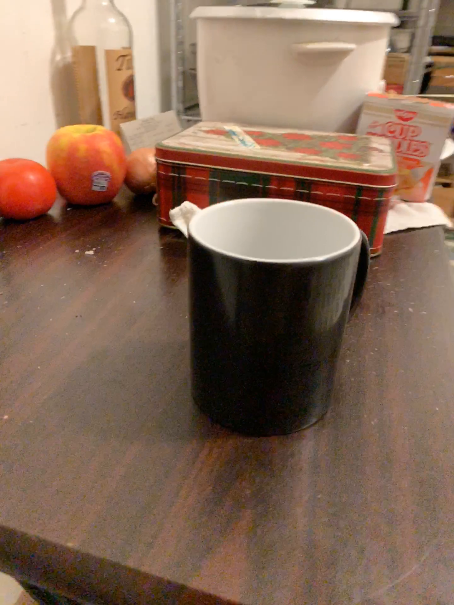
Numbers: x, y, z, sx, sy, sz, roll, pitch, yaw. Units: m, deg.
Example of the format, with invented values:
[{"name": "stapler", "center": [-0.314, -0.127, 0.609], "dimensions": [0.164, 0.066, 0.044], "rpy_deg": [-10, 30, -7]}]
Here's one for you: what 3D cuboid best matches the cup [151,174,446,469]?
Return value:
[{"name": "cup", "center": [0.038, -0.002, 0.257], "dimensions": [0.130, 0.099, 0.080], "rpy_deg": [-23, 38, -36]}]
